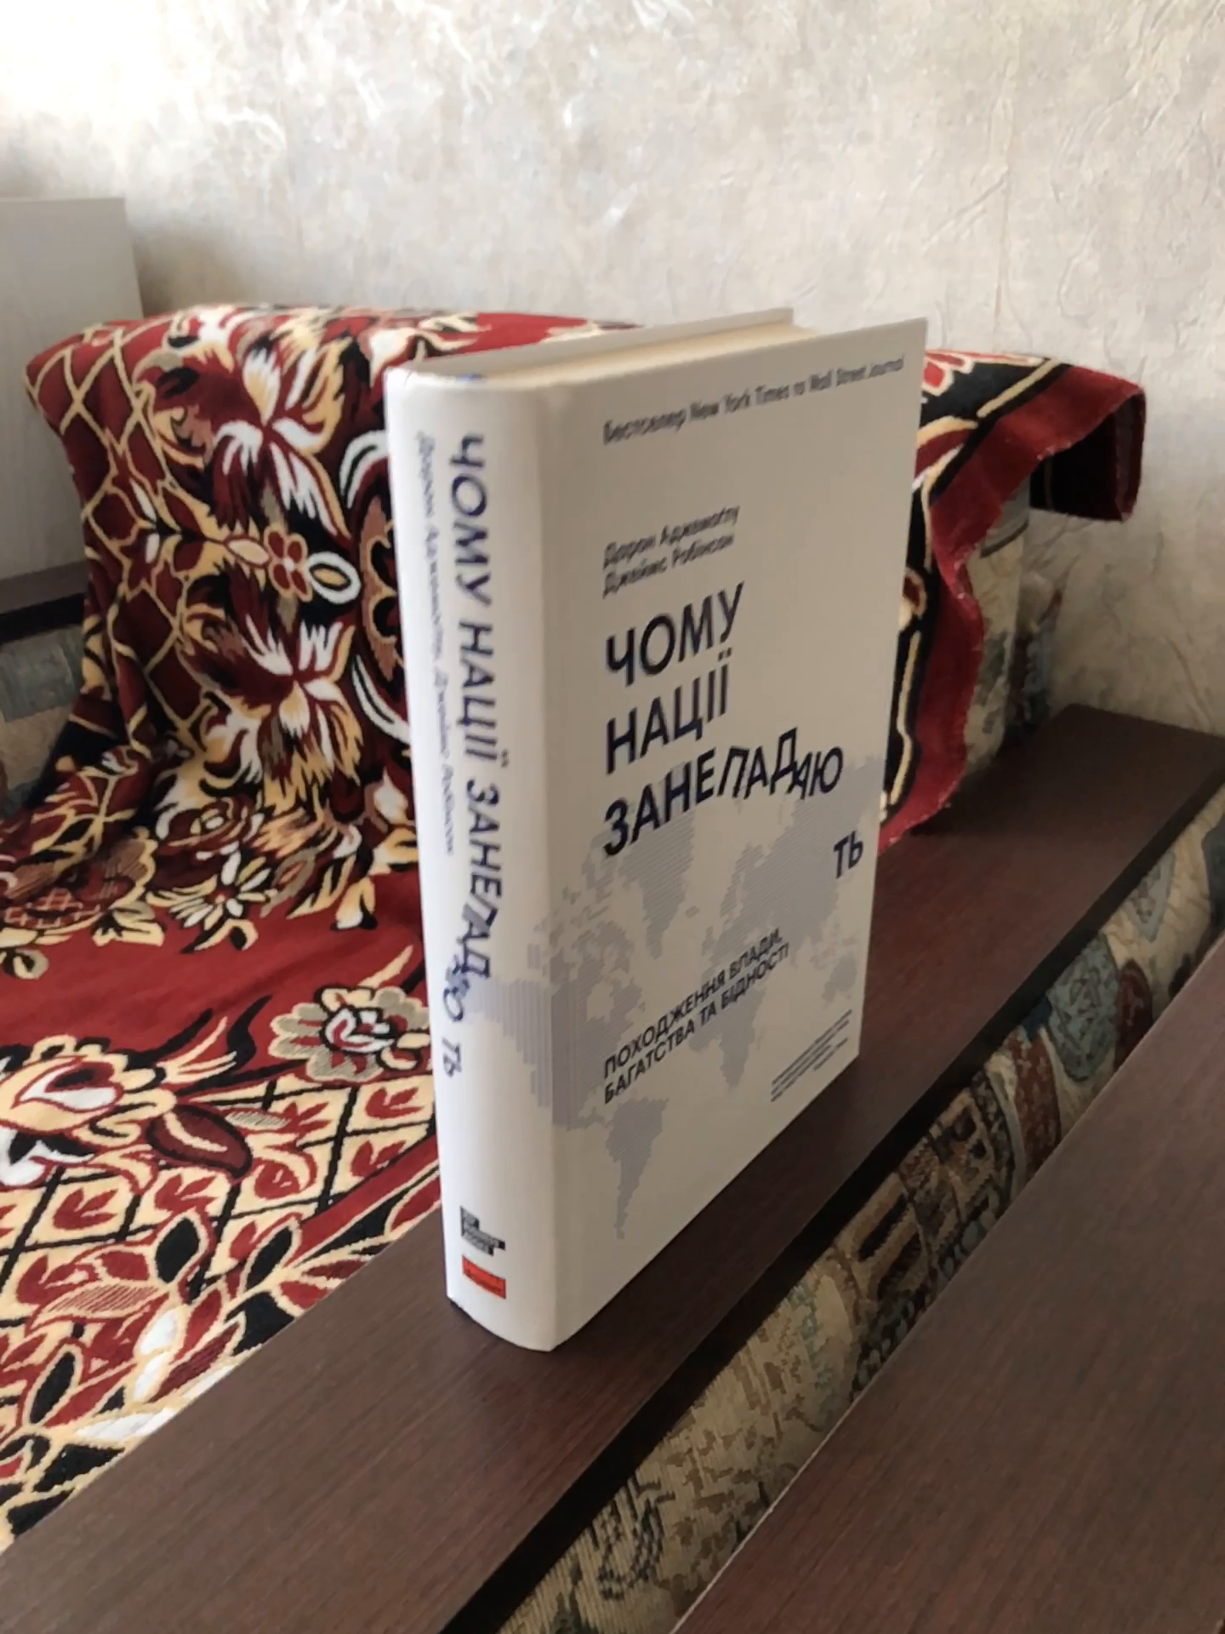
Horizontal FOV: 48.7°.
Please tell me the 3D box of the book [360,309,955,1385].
[{"bbox_3d":[0.019,-0.001,0.323,0.042,0.212,0.151,18,31,33],"label":"book"}]
